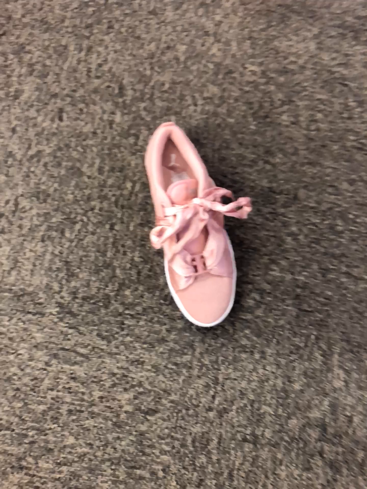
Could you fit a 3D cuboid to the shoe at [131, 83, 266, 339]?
[{"bbox_3d":[0.012,-0.037,0.485,0.100,0.100,0.262,-10,89,-6],"label":"shoe"}]
